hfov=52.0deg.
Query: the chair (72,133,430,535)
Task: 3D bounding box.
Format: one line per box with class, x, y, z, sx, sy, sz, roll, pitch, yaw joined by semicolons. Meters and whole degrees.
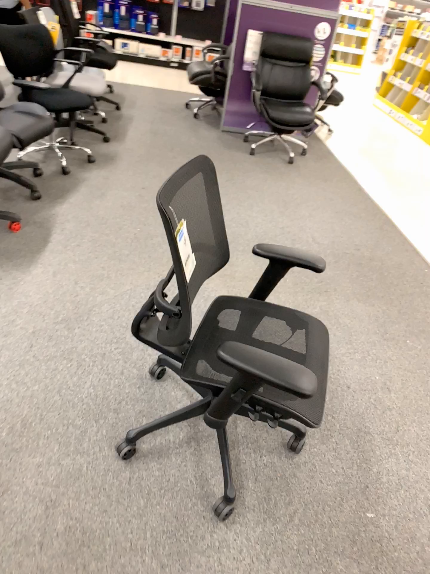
chair;0.092;0.103;1.376;0.760;0.806;0.764;12;35;2
